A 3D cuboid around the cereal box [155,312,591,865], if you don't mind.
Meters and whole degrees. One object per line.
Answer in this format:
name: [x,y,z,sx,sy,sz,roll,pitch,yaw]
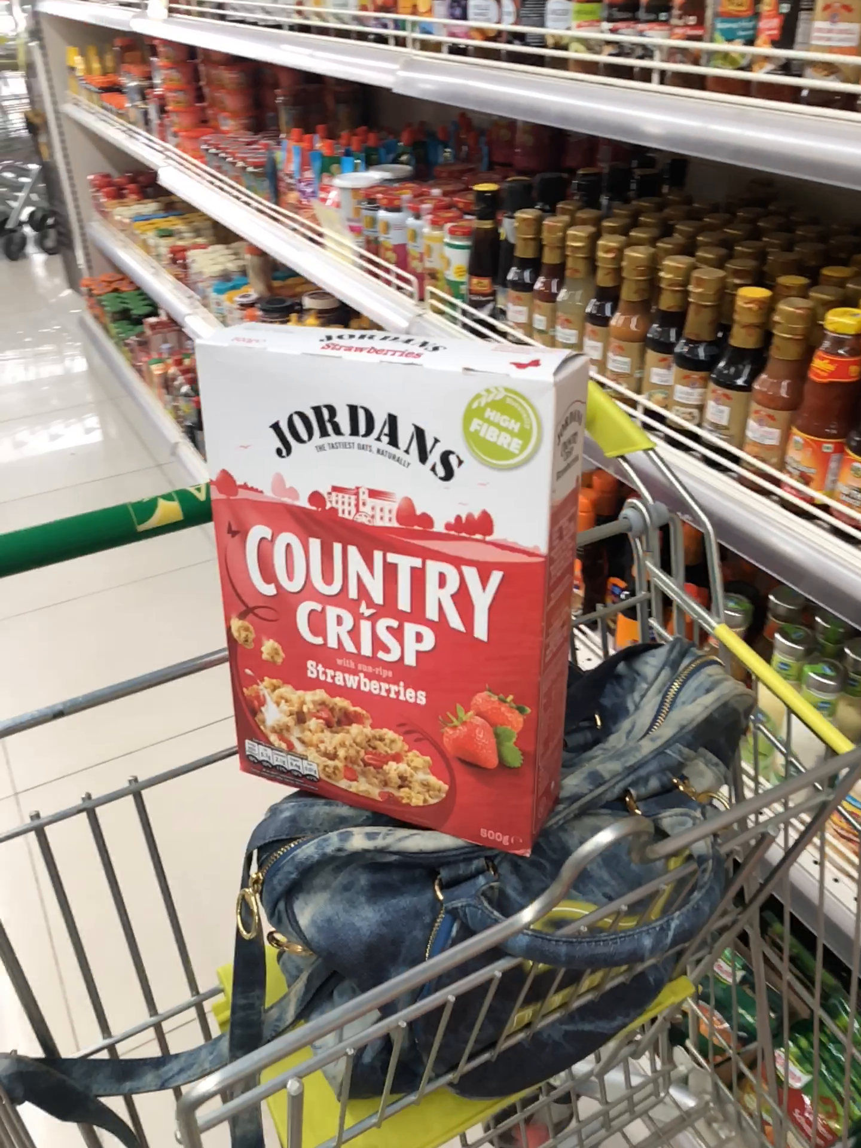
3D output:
cereal box: [-0.028,0.007,0.487,0.190,0.249,0.060,11,29,21]
